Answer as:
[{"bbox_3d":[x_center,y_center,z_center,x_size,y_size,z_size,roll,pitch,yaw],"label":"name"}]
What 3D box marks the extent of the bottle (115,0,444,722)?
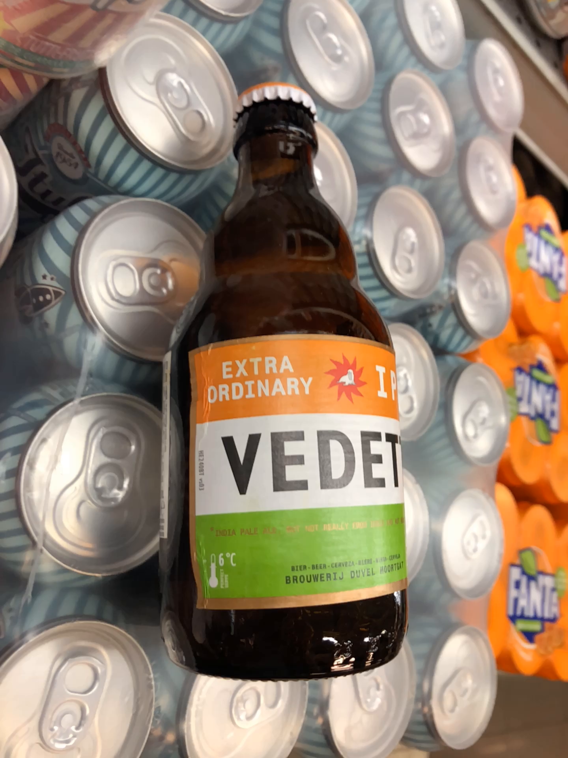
[{"bbox_3d":[0.000,-0.015,0.193,0.070,0.060,0.190,9,78,-41],"label":"bottle"}]
